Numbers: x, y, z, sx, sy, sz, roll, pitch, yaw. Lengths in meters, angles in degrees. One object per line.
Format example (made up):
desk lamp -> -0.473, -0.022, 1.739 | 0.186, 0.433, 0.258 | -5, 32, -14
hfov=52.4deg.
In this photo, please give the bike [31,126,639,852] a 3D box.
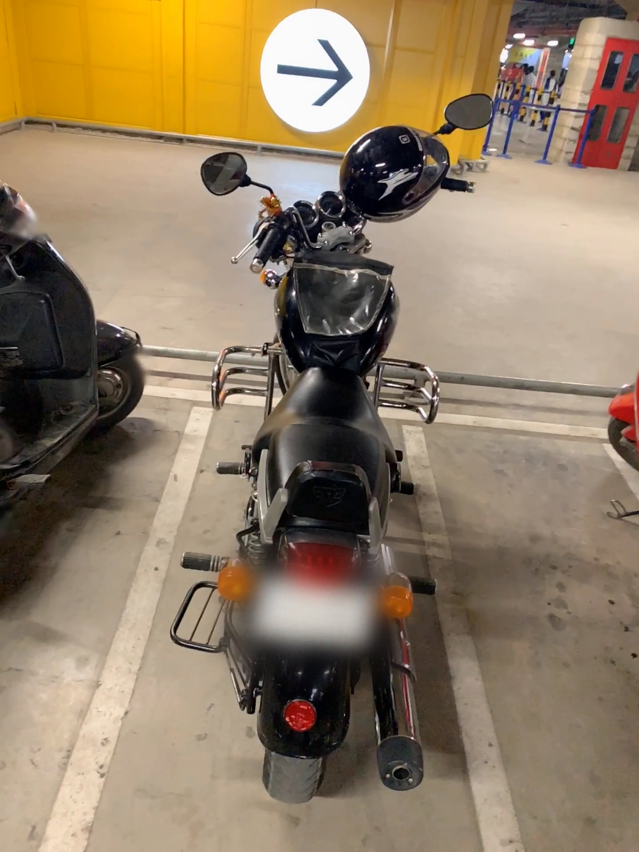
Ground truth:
bike -> -0.072, -0.108, 2.032 | 0.828, 1.228, 2.087 | 4, 30, -5
